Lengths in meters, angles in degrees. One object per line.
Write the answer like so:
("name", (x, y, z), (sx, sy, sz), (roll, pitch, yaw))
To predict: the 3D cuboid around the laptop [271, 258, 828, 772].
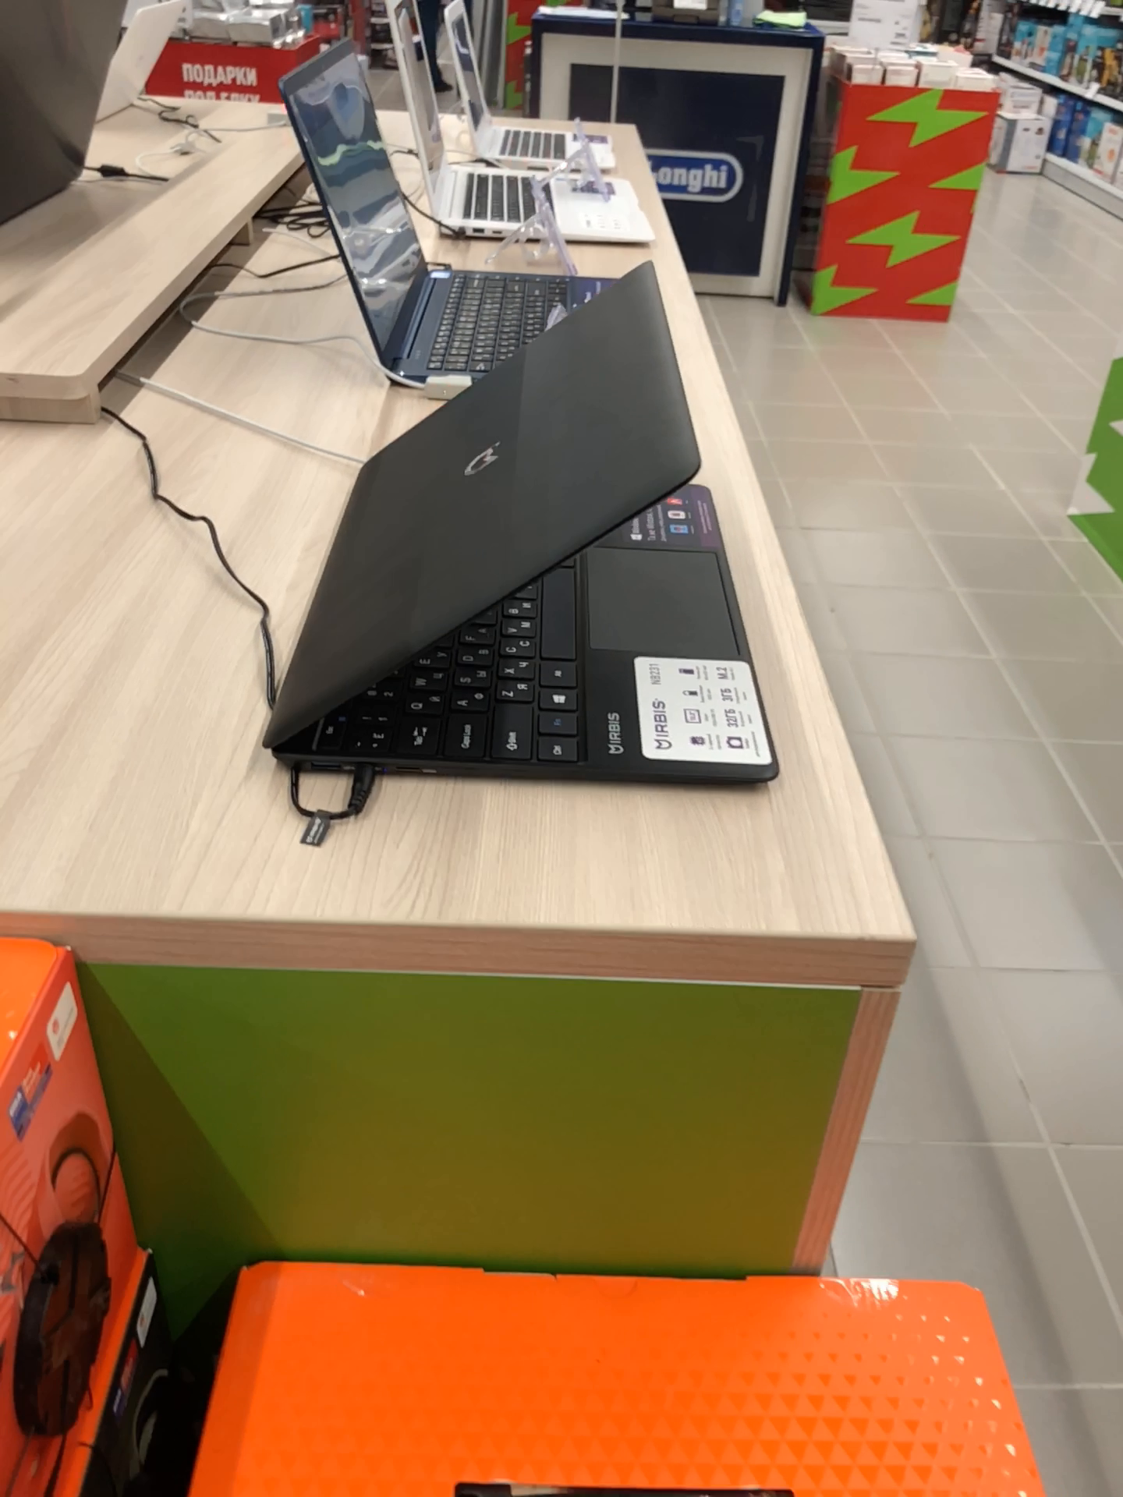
("laptop", (-0.006, -0.133, 0.611), (0.203, 0.132, 0.301), (3, 34, -1))
